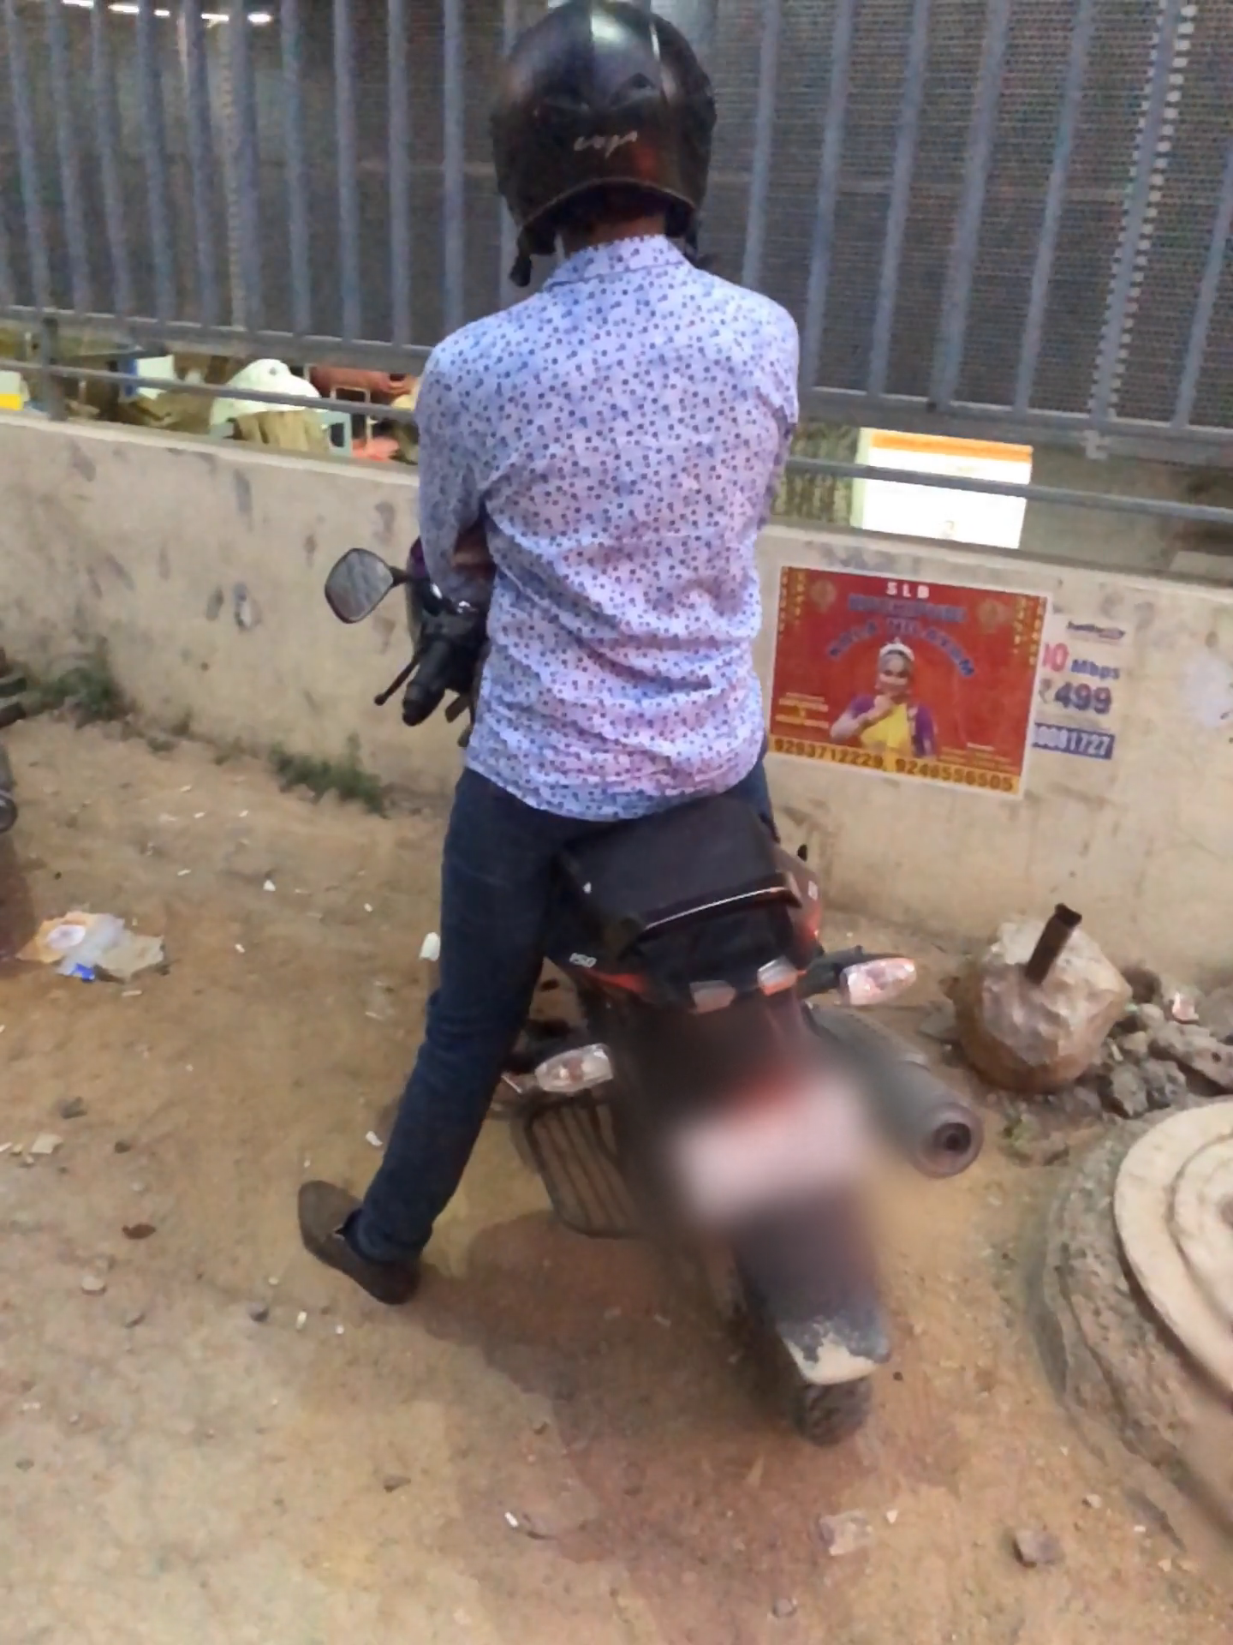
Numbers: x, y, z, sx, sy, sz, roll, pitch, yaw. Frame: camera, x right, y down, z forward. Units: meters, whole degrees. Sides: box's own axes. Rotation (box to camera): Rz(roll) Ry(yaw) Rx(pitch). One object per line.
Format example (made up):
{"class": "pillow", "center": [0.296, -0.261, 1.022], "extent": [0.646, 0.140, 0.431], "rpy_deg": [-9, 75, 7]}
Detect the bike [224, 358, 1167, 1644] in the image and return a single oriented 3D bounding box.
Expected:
{"class": "bike", "center": [-0.163, -0.009, 2.135], "extent": [0.746, 1.144, 1.809], "rpy_deg": [-3, 25, -17]}
